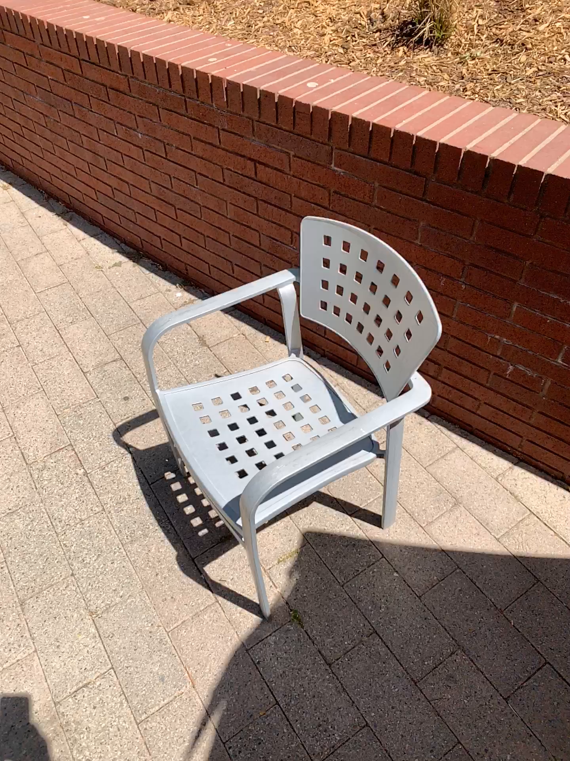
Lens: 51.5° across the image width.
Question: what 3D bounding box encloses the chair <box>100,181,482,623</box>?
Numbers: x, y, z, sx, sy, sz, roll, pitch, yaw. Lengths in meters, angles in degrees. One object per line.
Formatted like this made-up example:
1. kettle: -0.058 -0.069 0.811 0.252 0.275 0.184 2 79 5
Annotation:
1. chair: -0.009 0.045 1.370 0.498 0.698 0.564 -25 50 -22
